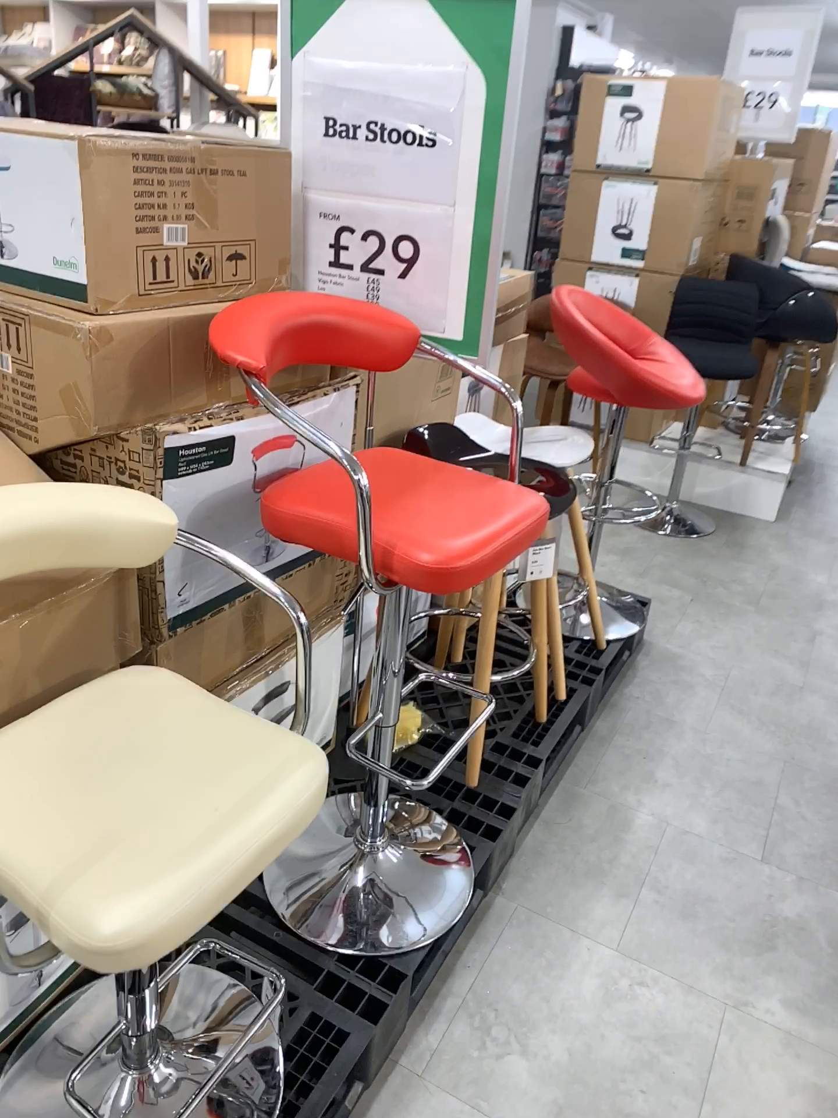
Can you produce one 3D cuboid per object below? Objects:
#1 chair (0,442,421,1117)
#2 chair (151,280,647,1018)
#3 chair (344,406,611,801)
[{"bbox_3d":[-0.350,0.364,1.072,0.459,0.839,0.499,17,27,23],"label":"chair"},{"bbox_3d":[-0.038,0.100,1.427,0.529,0.978,0.529,17,27,23],"label":"chair"},{"bbox_3d":[0.126,0.078,1.961,0.389,0.710,0.428,17,27,24],"label":"chair"}]
